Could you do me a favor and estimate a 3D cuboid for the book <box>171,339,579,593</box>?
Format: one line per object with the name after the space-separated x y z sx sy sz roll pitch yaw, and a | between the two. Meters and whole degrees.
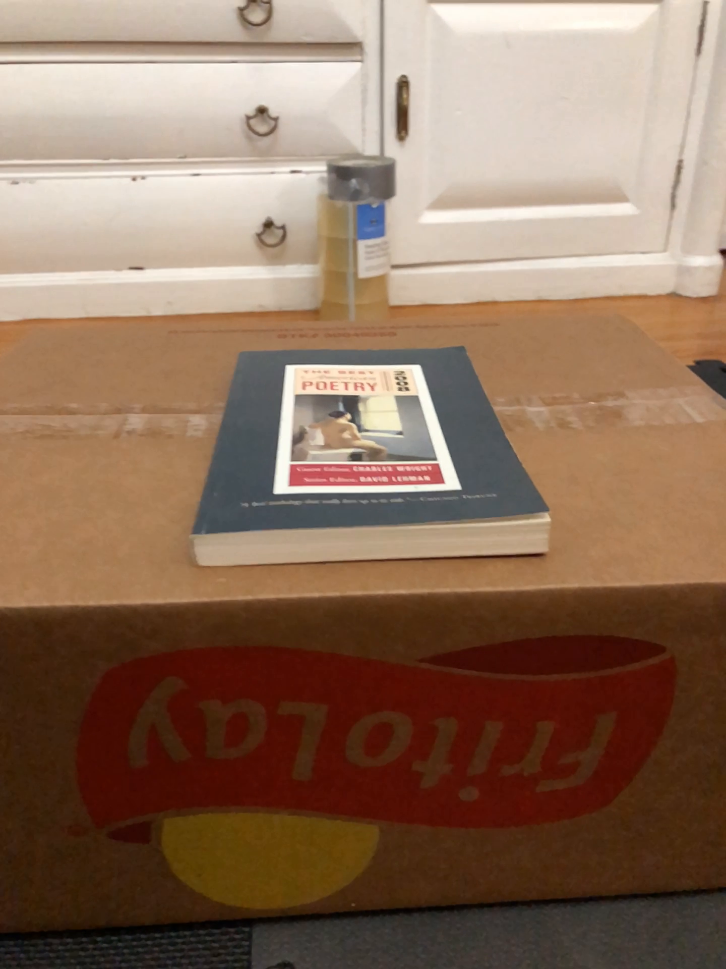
-0.002 -0.025 0.400 0.150 0.020 0.231 -2 28 -3 | book
